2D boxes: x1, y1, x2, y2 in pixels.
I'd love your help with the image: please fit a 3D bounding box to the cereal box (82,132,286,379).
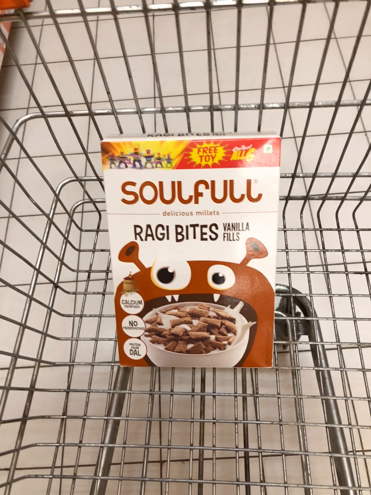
[{"bbox_3d":[0.001,0.010,0.435,0.180,0.249,0.070,0,19,2],"label":"cereal box"}]
